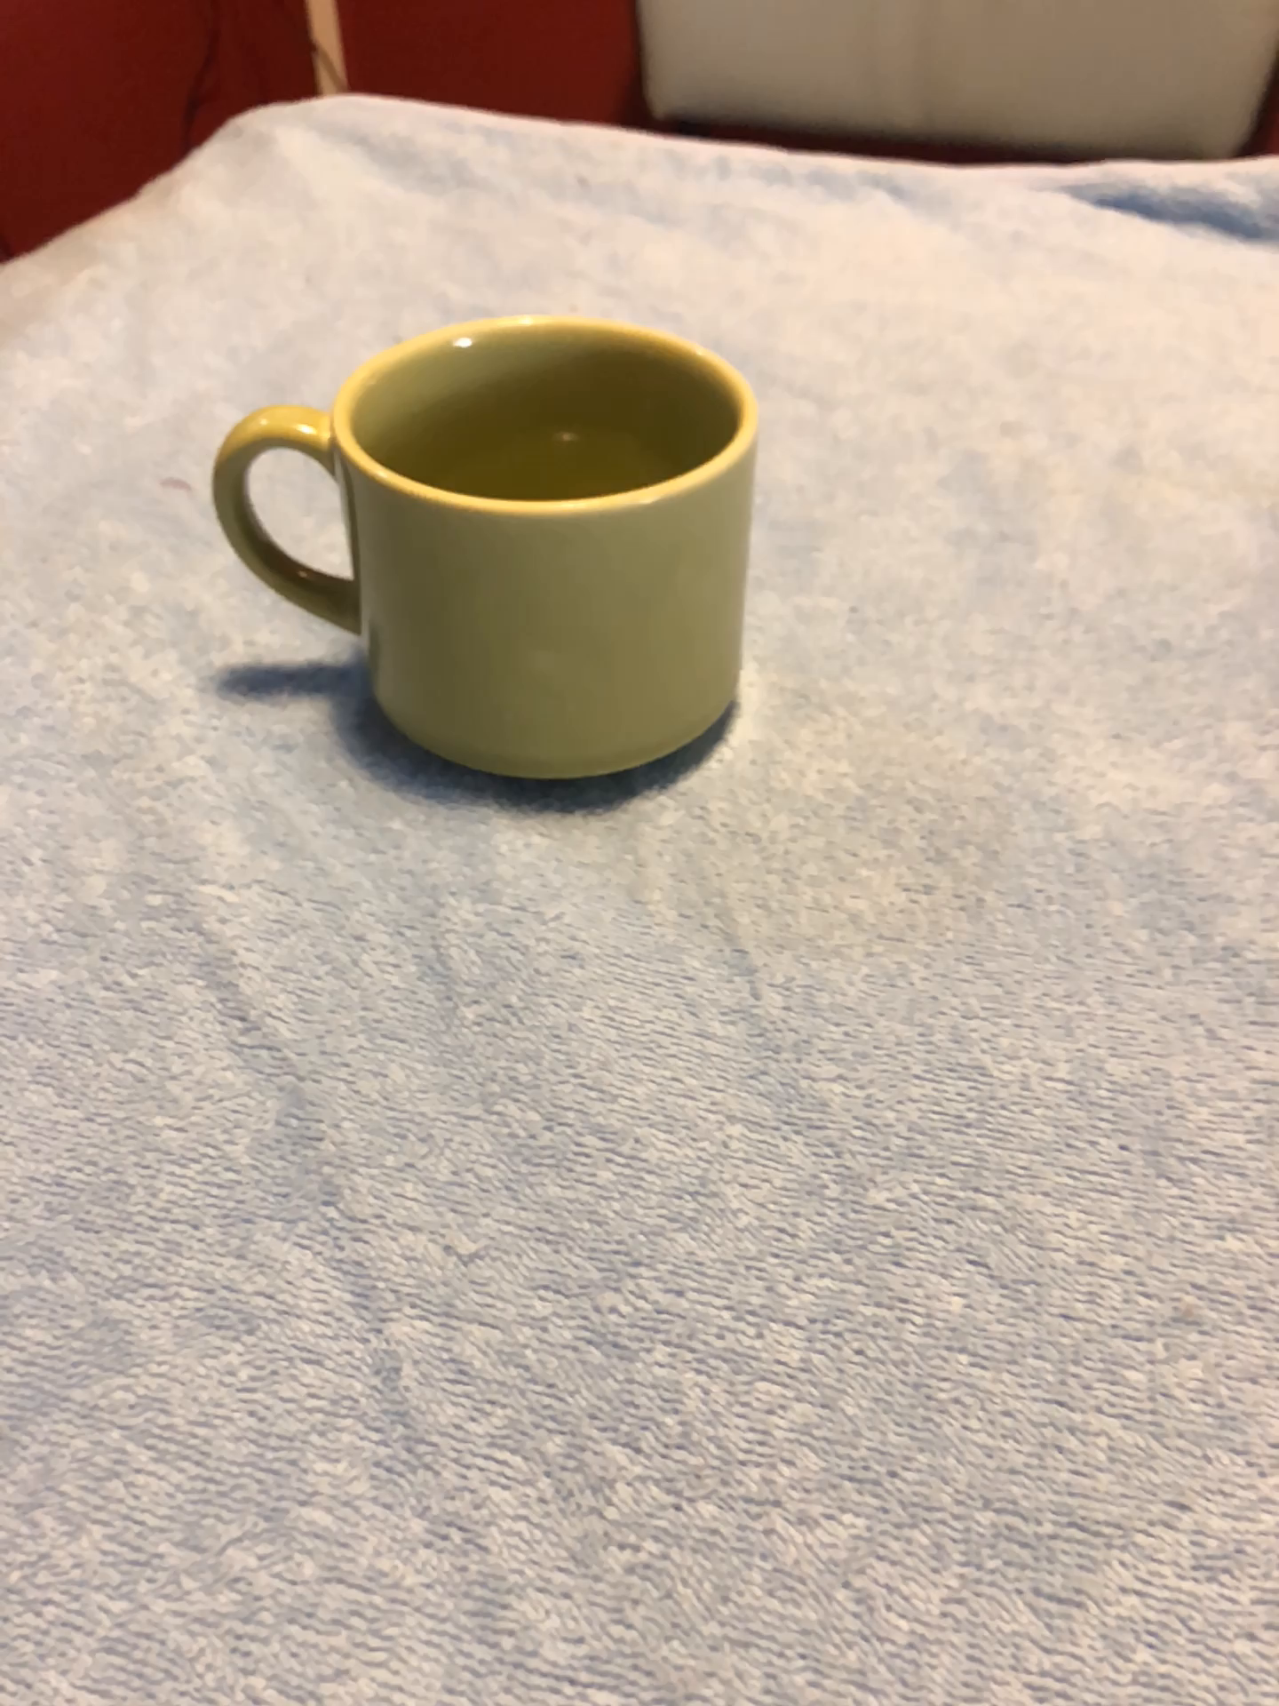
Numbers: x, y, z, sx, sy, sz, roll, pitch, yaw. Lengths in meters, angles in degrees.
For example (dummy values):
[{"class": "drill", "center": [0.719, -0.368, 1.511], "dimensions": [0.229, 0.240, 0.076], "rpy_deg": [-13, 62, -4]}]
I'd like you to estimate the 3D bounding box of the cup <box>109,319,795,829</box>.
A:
[{"class": "cup", "center": [-0.029, -0.058, 0.283], "dimensions": [0.110, 0.060, 0.091], "rpy_deg": [1, 42, 2]}]
